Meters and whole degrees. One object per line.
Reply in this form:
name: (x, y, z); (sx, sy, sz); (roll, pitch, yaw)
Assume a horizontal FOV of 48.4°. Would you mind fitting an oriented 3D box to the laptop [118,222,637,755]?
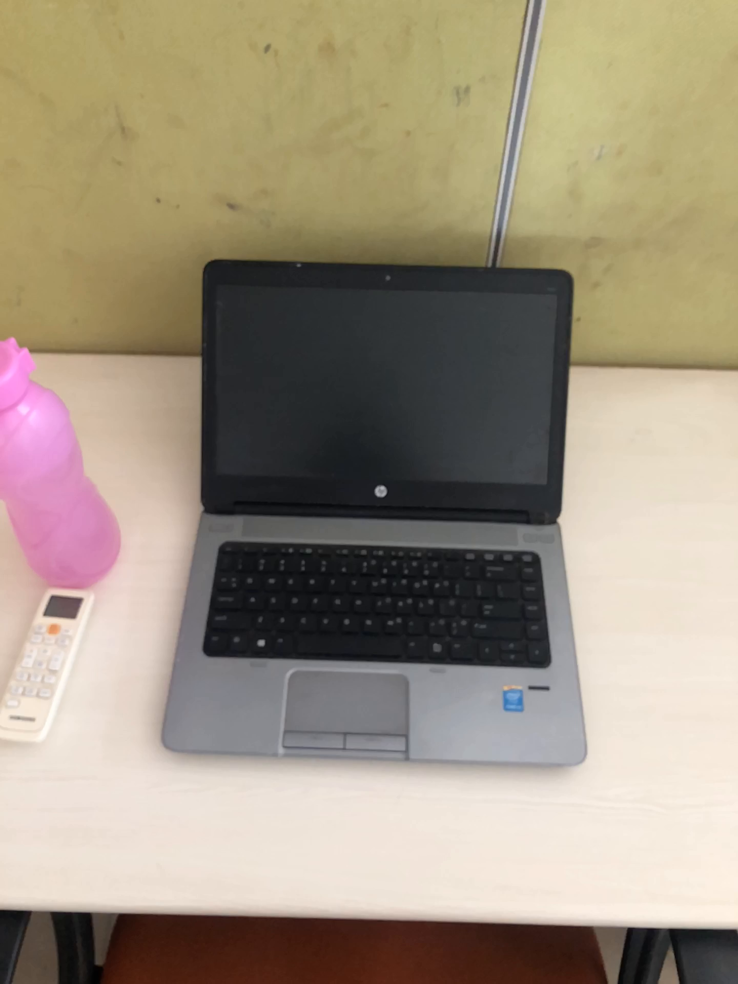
laptop: (0.010, -0.019, 0.681); (0.326, 0.148, 0.408); (1, 58, 1)
